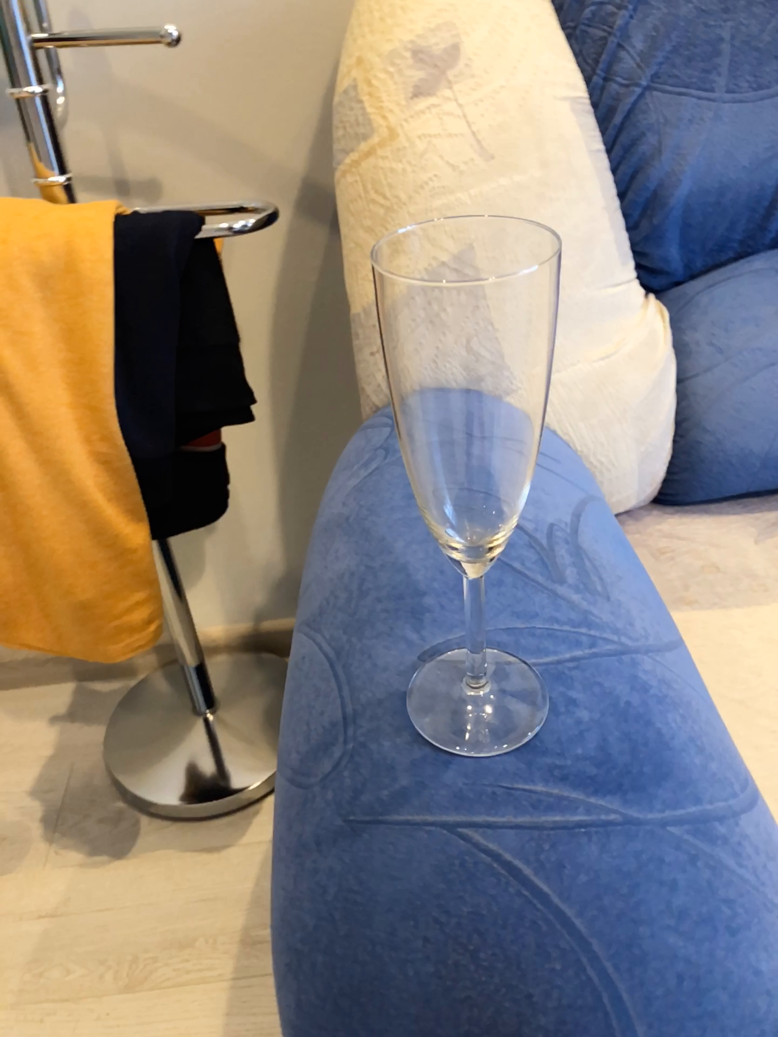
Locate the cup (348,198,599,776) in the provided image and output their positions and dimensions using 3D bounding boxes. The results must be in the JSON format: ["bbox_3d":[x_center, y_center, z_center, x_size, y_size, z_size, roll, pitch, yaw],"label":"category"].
[{"bbox_3d":[0.033,-0.003,0.336,0.072,0.214,0.077,-4,33,3],"label":"cup"}]
